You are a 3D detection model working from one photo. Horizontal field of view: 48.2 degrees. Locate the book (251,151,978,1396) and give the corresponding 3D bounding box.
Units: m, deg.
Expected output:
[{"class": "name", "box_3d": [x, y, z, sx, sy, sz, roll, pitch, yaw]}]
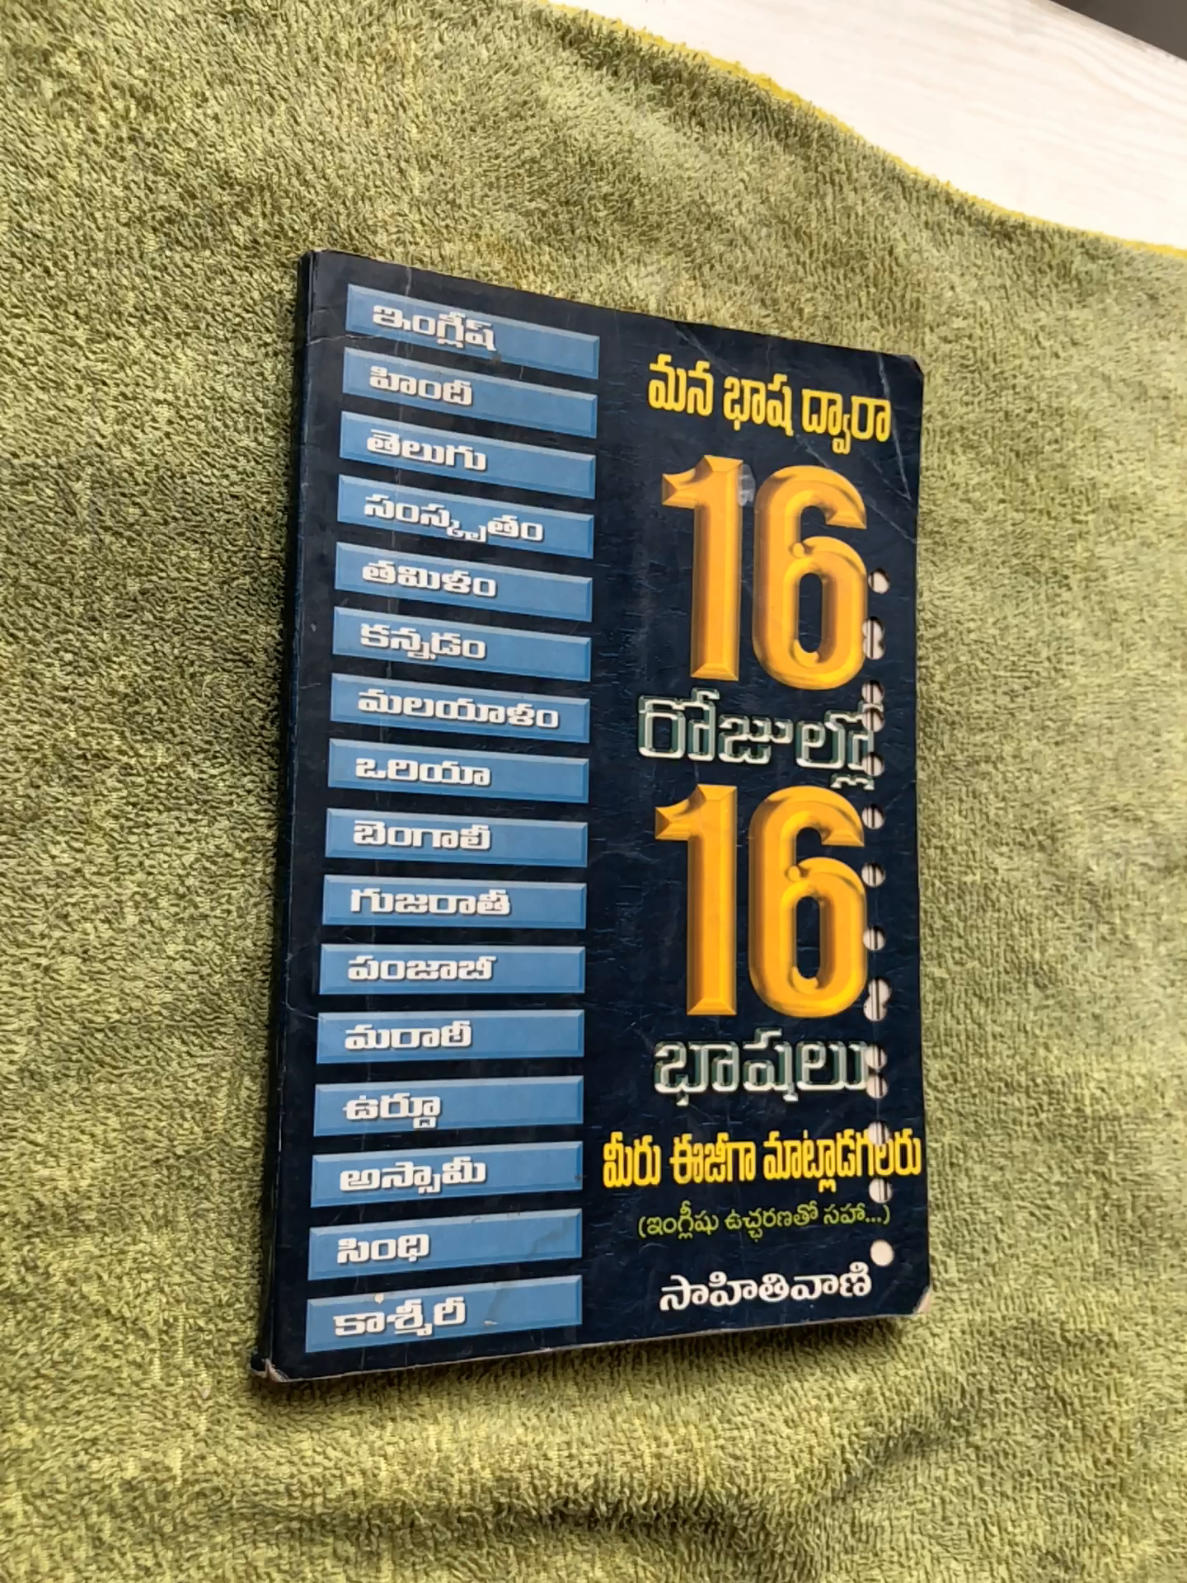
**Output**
[{"class": "book", "box_3d": [0.009, -0.003, 0.271, 0.140, 0.030, 0.220, 3, 83, -20]}]
